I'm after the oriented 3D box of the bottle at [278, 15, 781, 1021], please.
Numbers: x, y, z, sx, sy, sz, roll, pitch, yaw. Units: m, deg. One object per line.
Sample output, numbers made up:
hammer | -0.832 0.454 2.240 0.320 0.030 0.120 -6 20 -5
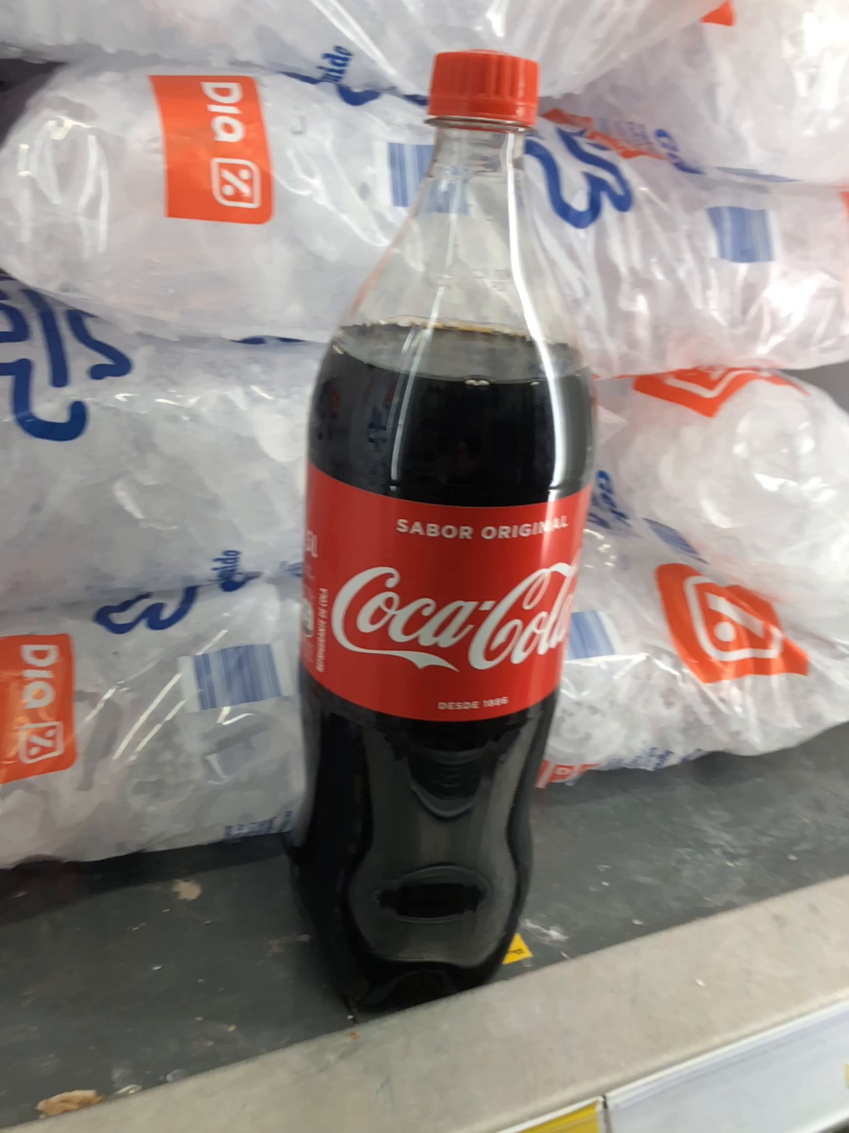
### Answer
bottle | 0.013 -0.001 0.302 0.100 0.288 0.080 -1 24 -15
